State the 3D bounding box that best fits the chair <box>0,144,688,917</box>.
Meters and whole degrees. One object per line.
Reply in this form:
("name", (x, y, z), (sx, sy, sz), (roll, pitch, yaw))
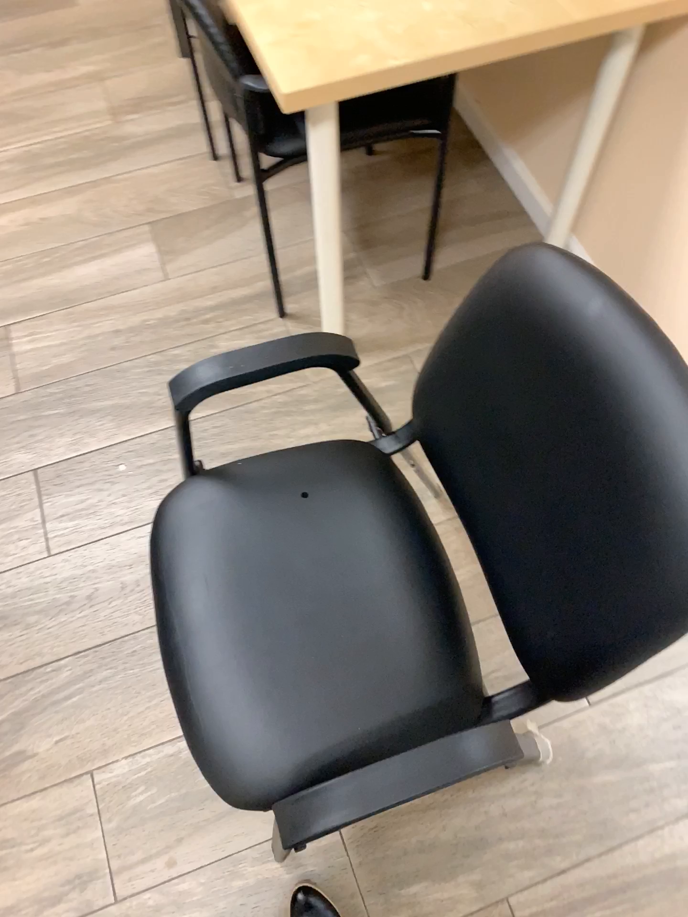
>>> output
("chair", (0.042, 0.169, 0.974), (0.624, 0.797, 0.607), (-18, 63, -8))
